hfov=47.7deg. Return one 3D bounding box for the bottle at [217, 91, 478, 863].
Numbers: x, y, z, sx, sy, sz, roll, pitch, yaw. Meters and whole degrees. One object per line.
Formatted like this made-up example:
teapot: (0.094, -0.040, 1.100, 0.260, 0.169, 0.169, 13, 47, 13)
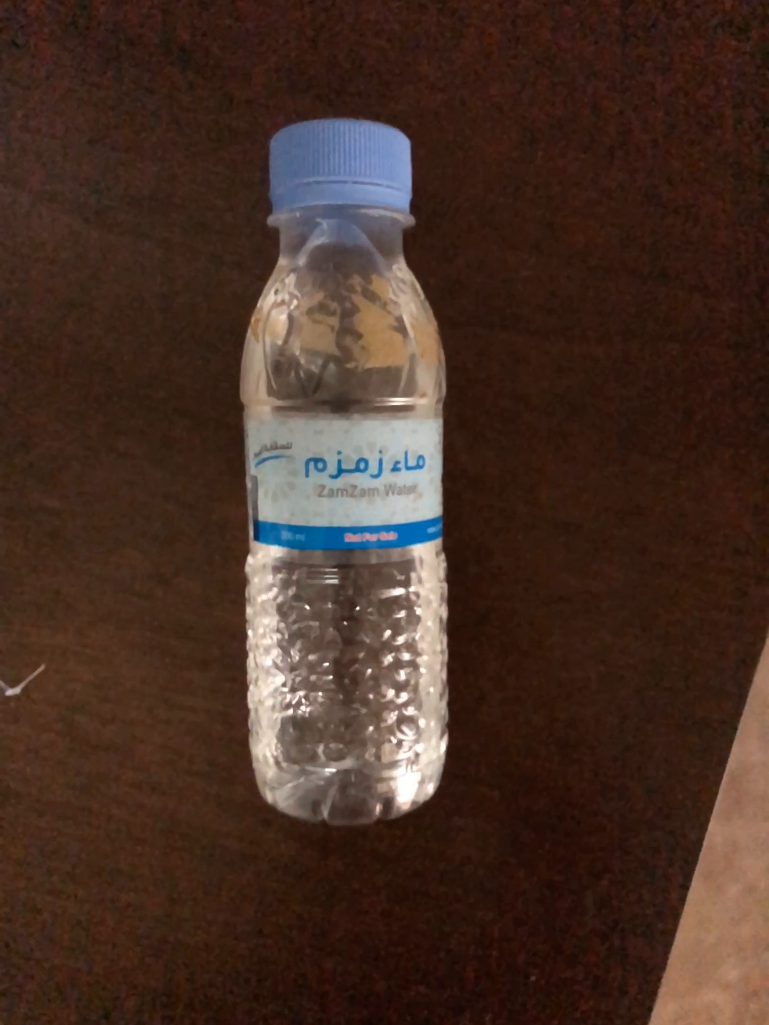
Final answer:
bottle: (-0.009, -0.007, 0.207, 0.050, 0.050, 0.160, -2, 98, -7)
